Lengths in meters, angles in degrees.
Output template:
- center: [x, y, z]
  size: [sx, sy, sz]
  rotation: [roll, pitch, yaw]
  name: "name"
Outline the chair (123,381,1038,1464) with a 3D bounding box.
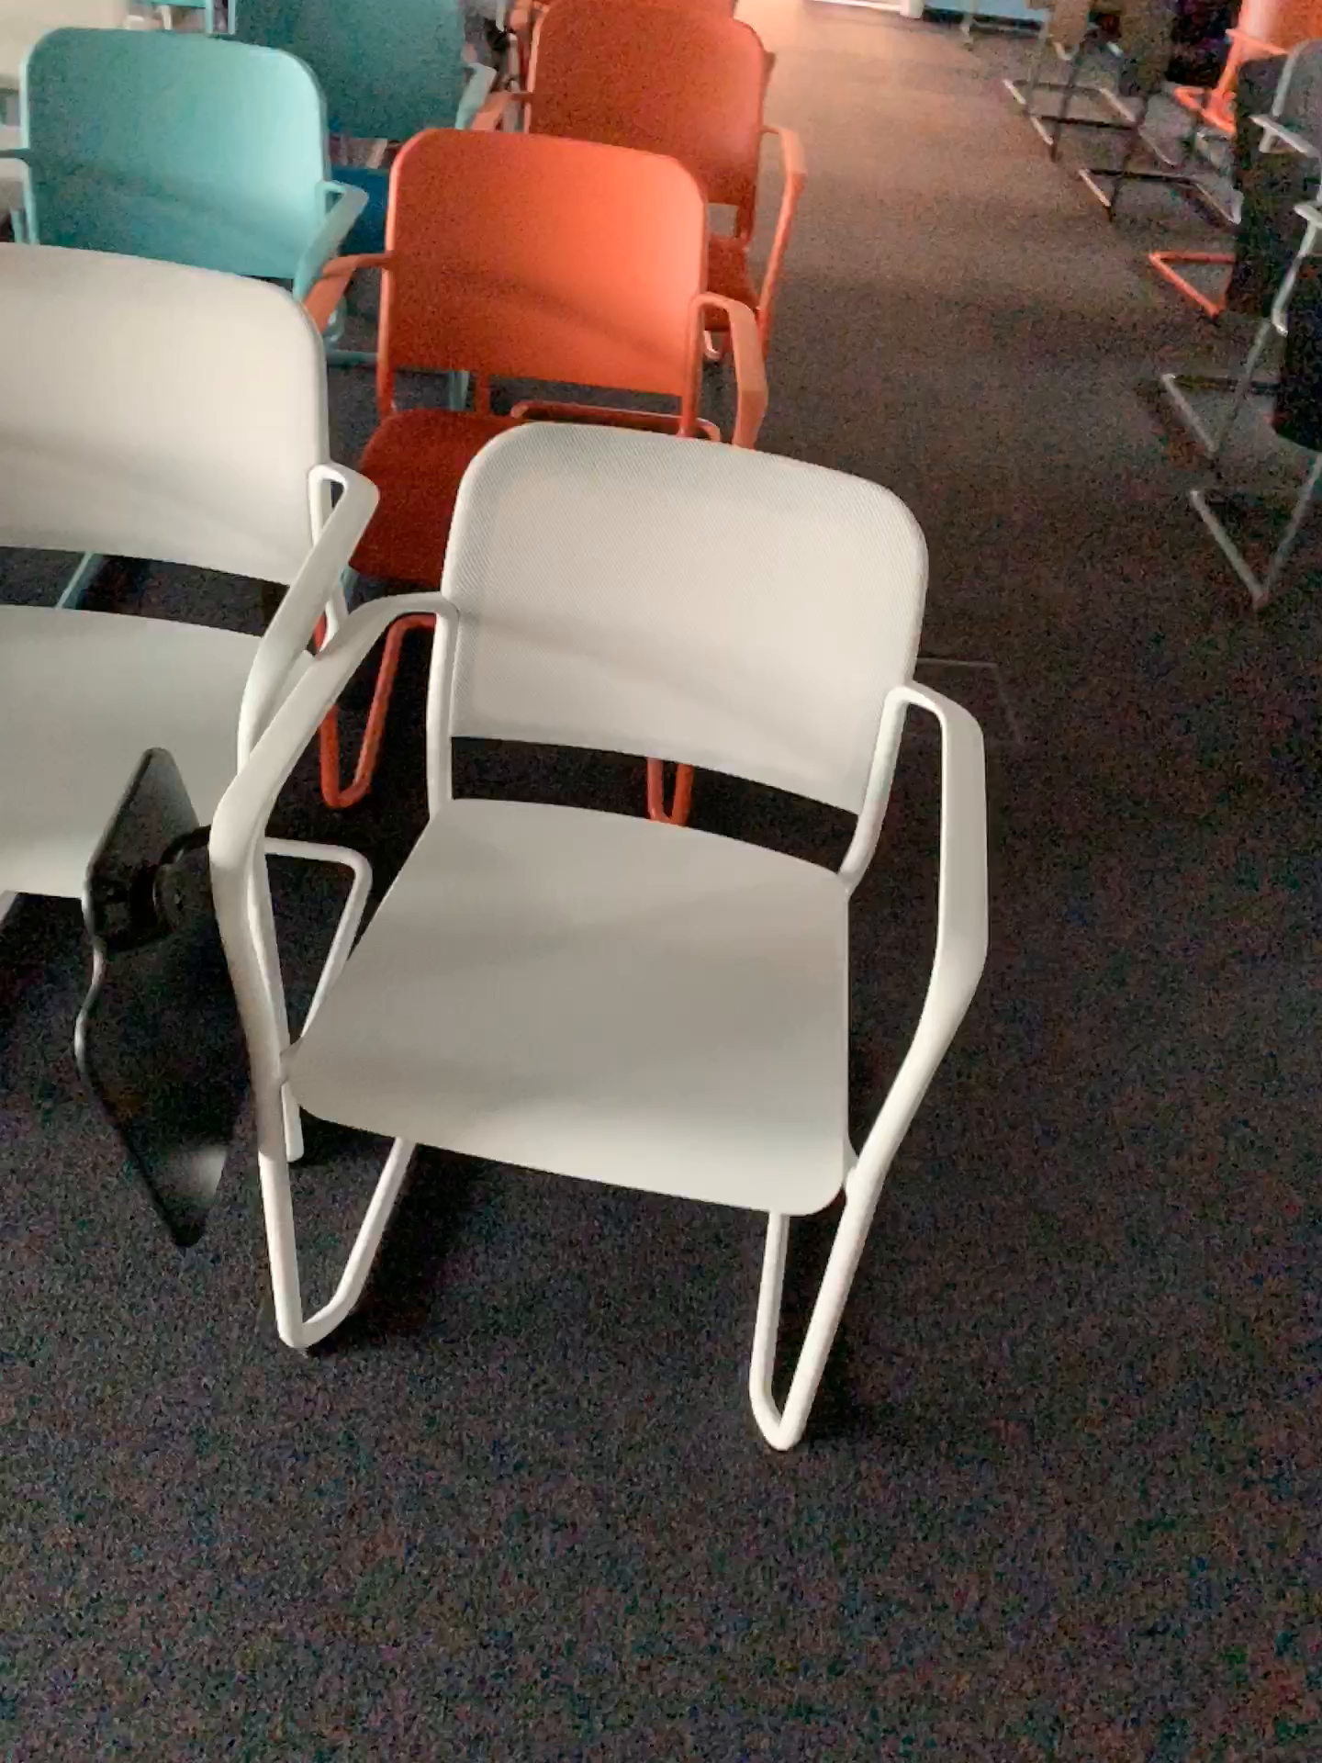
- center: [-0.049, 0.056, 1.268]
  size: [0.560, 0.756, 0.553]
  rotation: [11, 43, 3]
  name: "chair"
